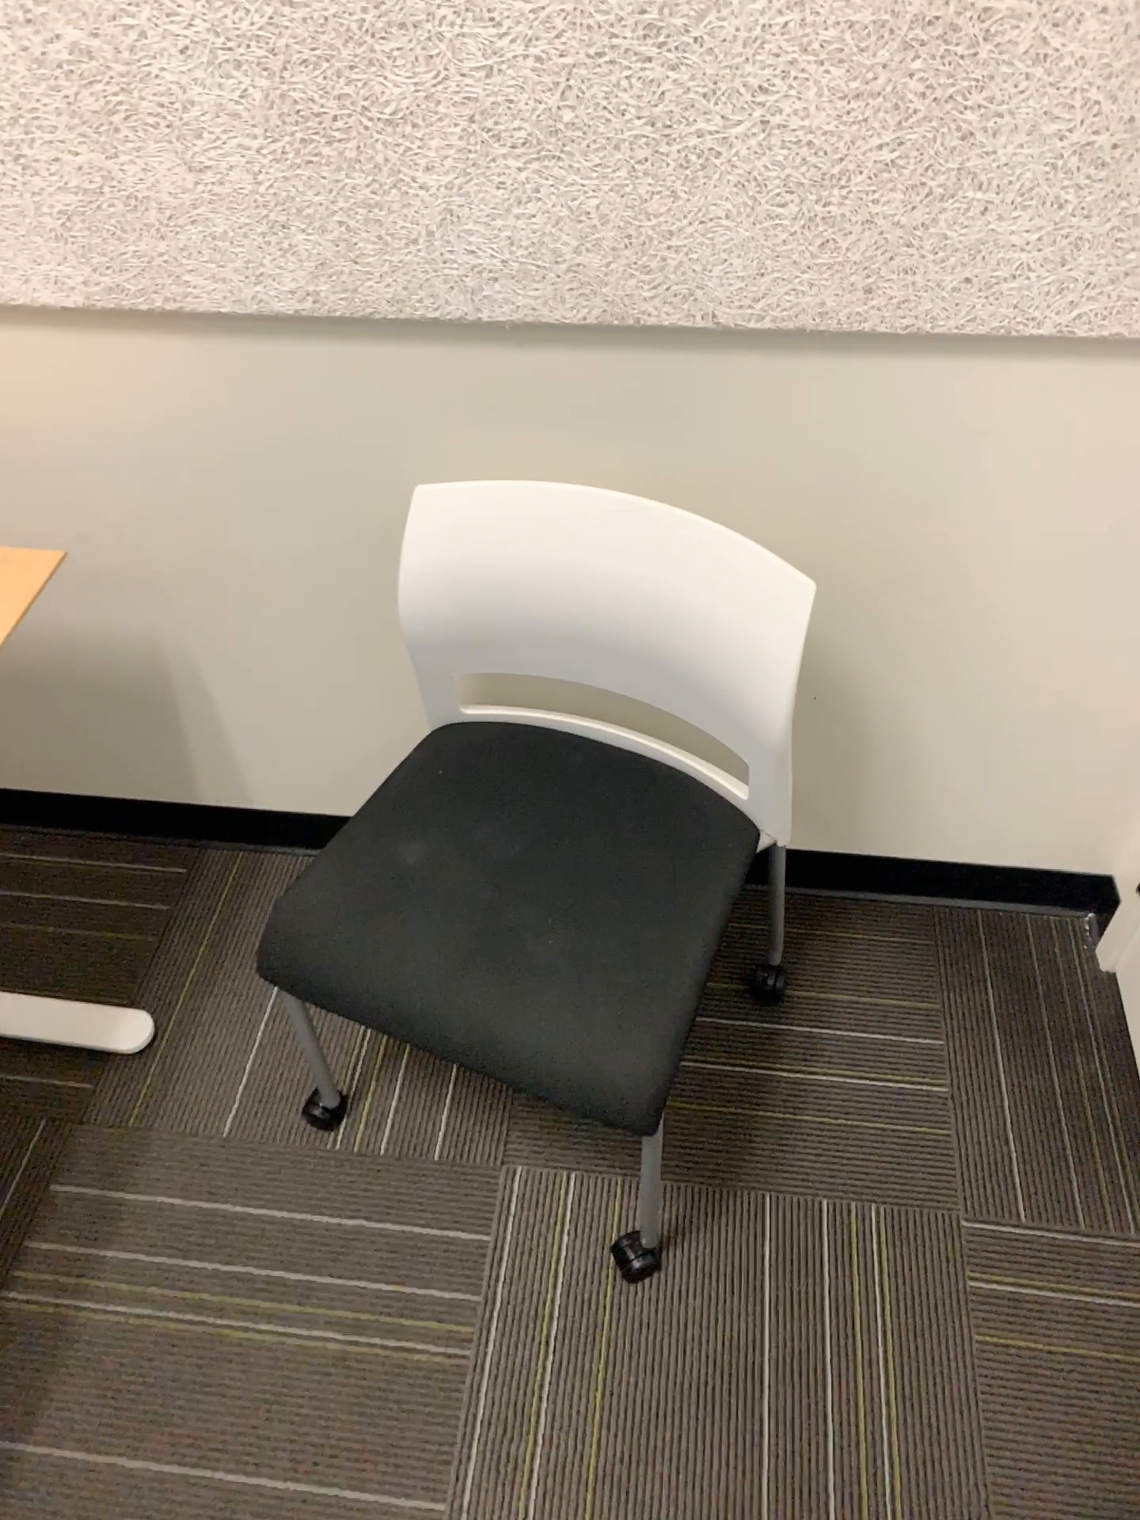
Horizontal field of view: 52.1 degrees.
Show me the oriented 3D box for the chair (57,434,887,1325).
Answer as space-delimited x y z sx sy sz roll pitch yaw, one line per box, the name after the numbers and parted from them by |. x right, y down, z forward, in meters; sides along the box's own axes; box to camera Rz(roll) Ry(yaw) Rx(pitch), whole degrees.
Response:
-0.051 0.145 1.344 0.581 0.736 0.542 17 51 18 | chair
